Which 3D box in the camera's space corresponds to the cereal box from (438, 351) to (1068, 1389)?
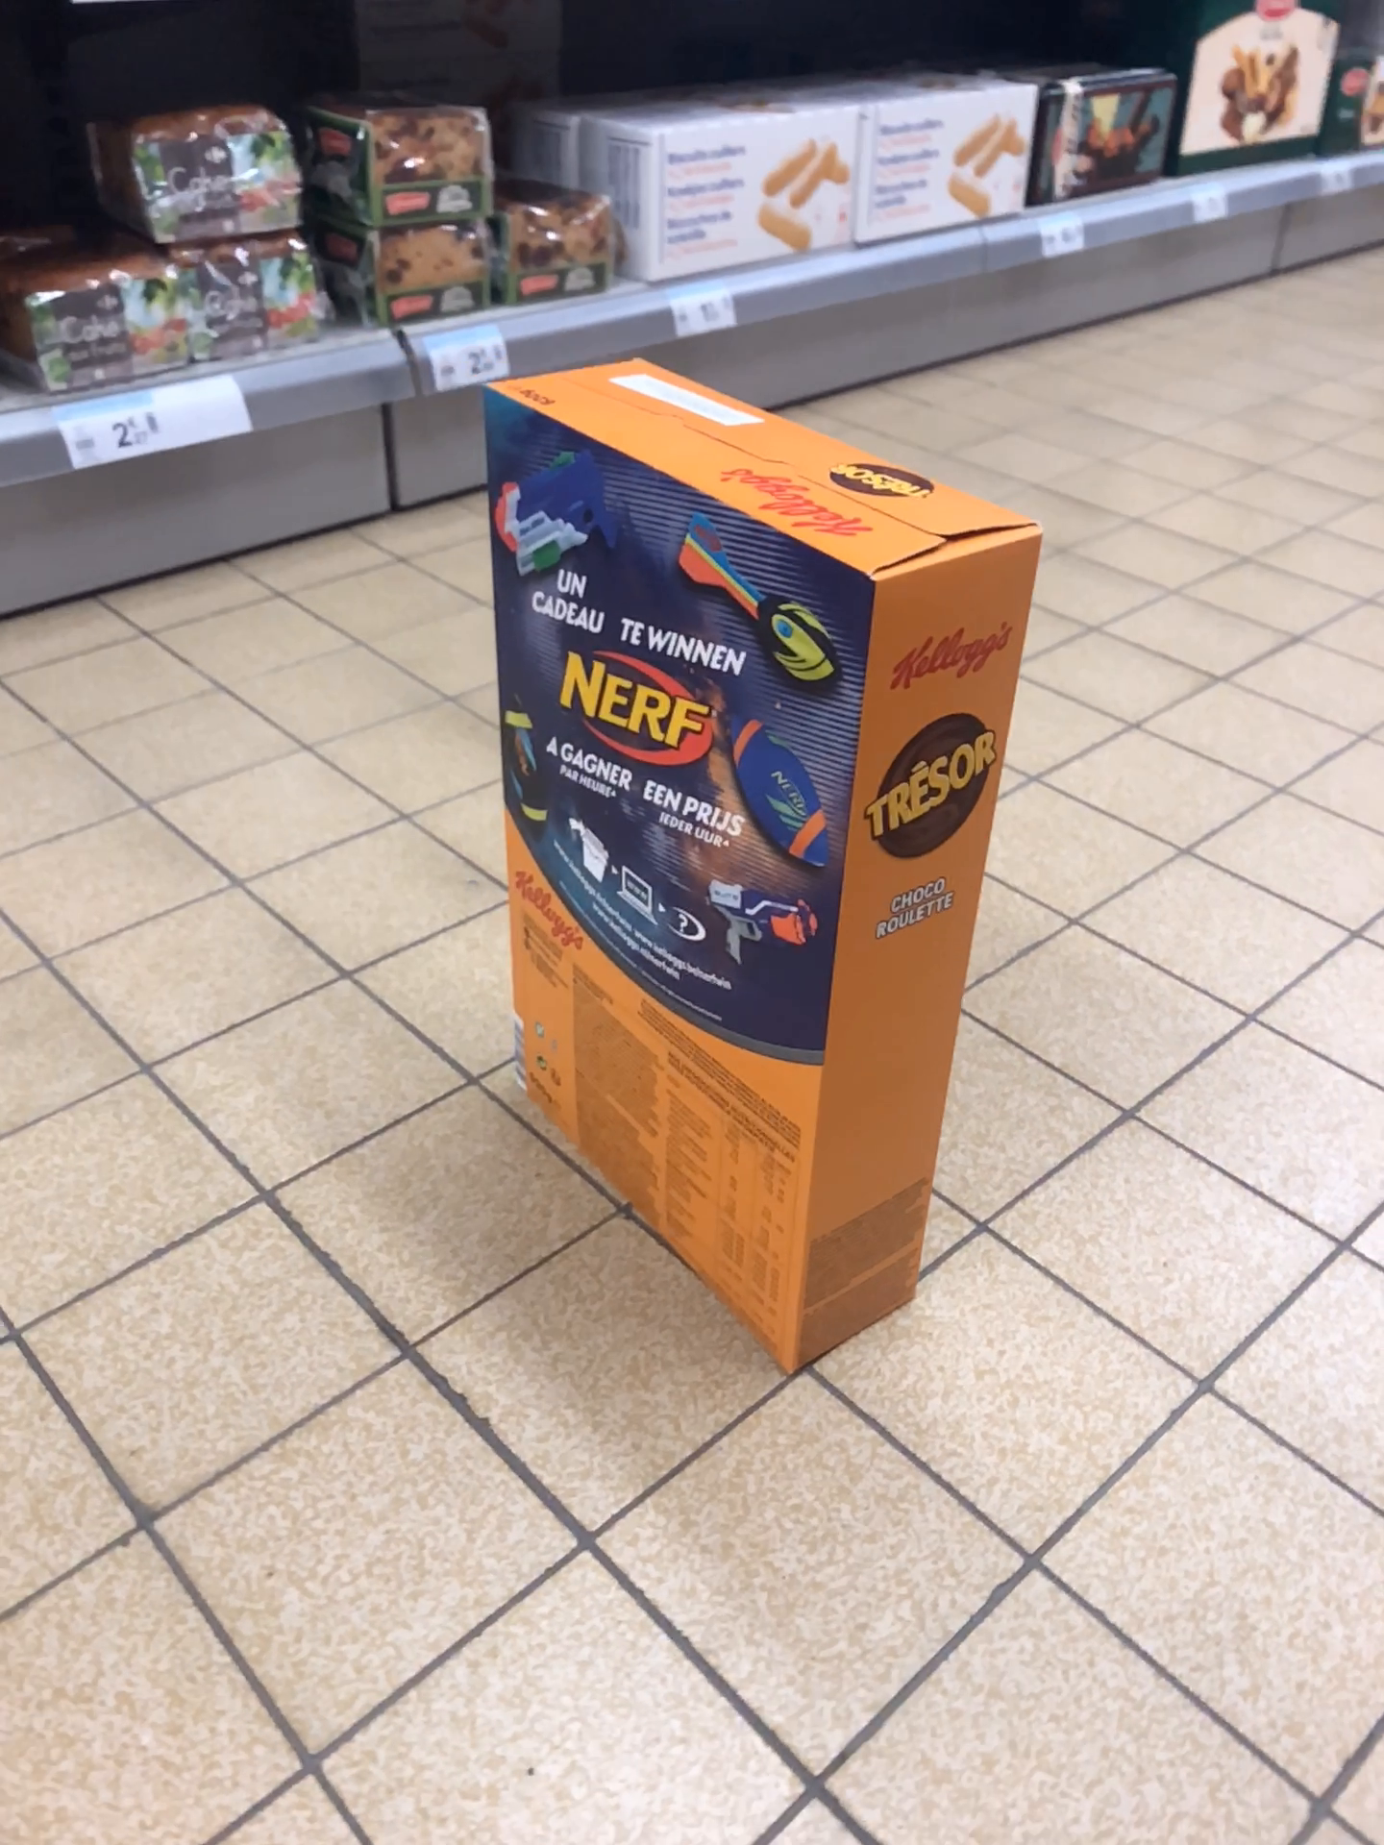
[{"bbox_3d":[0.003,-0.020,0.527,0.070,0.288,0.210,-21,41,-30],"label":"cereal box"}]
